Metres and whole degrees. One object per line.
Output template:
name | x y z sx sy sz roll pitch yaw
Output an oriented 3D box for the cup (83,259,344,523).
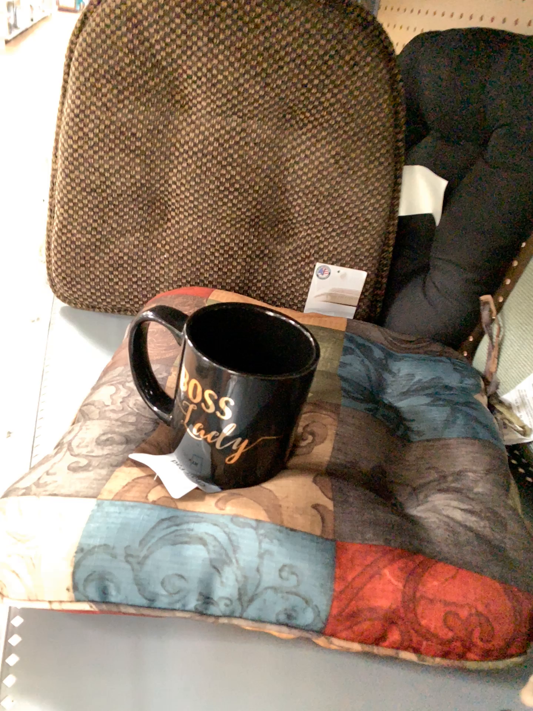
cup | -0.037 0.019 0.380 0.130 0.099 0.100 27 35 9
